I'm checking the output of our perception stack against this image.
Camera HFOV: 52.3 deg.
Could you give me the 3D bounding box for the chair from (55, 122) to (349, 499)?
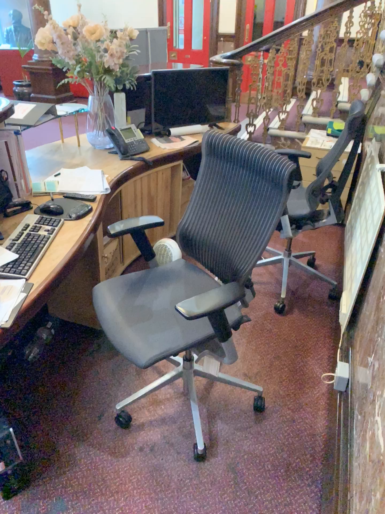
[{"bbox_3d":[-0.023,0.149,1.571,0.692,1.129,0.725,-15,34,-26],"label":"chair"}]
